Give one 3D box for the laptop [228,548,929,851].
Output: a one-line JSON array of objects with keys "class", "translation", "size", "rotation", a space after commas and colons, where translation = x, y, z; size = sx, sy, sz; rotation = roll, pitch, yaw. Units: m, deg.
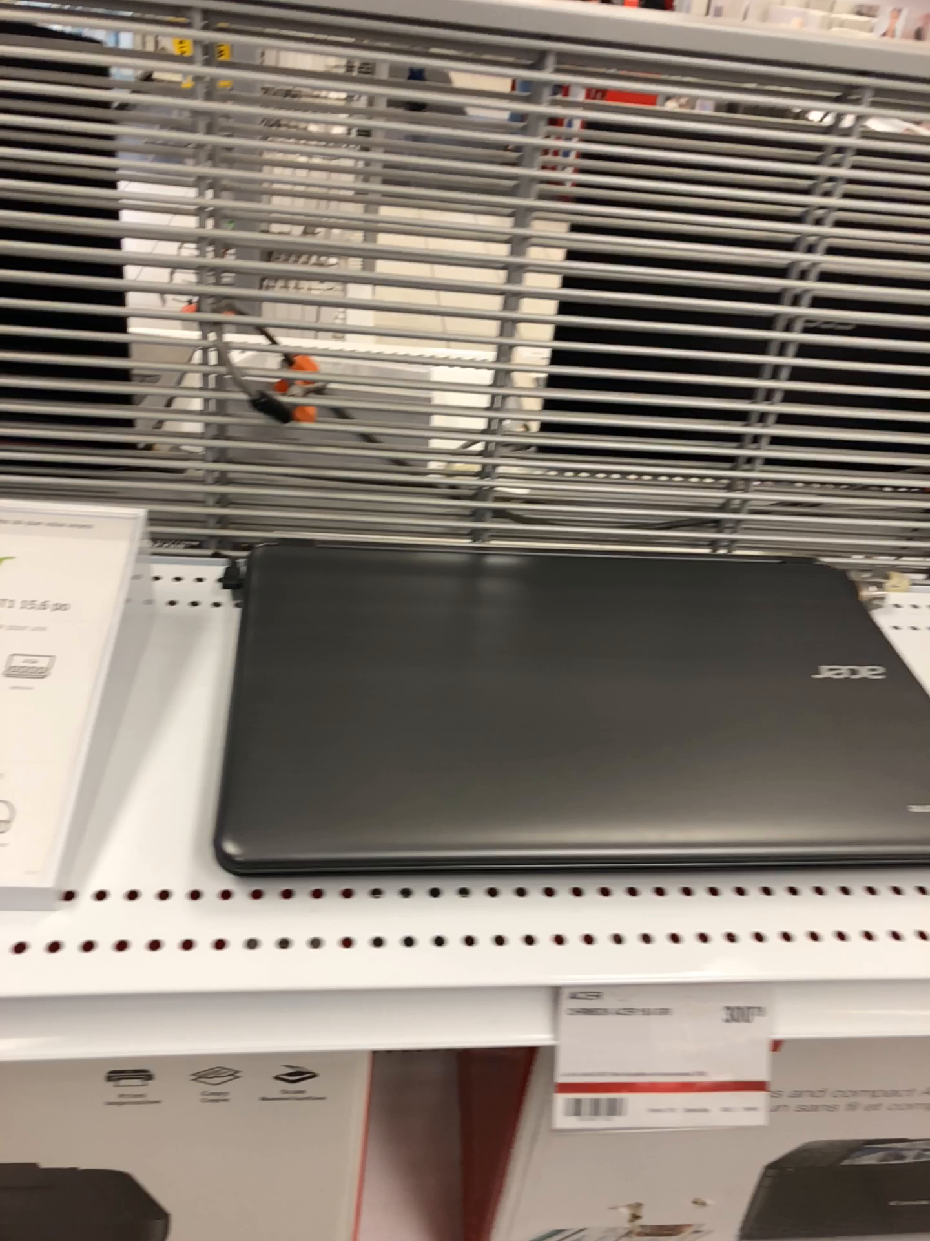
[{"class": "laptop", "translation": [0.068, 0.031, 0.545], "size": [0.367, 0.001, 0.238], "rotation": [1, 35, -7]}]
